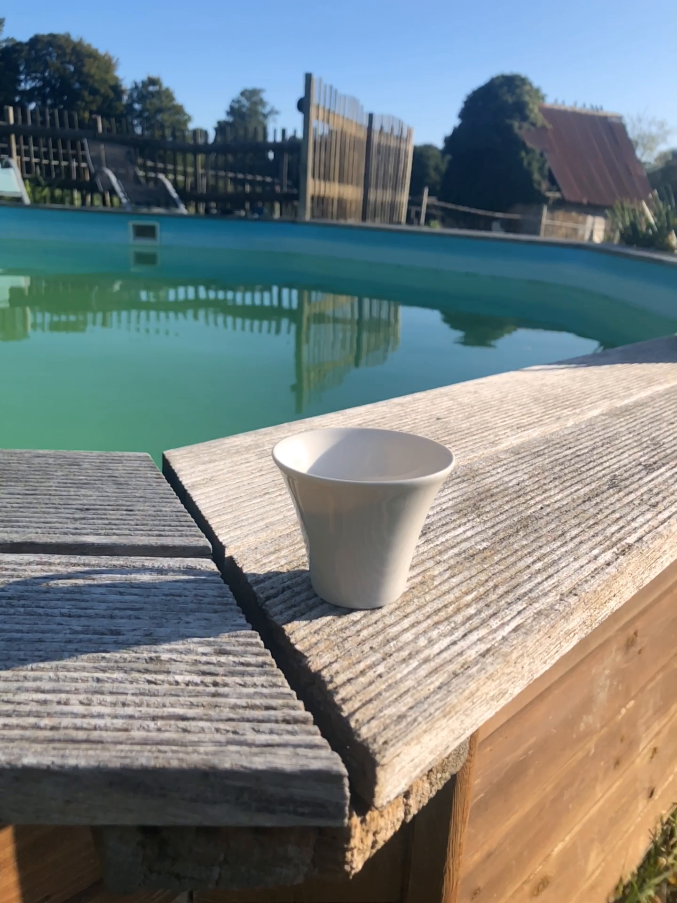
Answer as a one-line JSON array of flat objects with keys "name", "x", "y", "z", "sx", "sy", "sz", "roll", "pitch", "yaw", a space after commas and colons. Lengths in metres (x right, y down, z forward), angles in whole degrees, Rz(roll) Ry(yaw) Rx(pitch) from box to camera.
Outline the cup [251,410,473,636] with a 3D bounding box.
[{"name": "cup", "x": 0.015, "y": 0.024, "z": 0.318, "sx": 0.076, "sy": 0.053, "sz": 0.097, "roll": 6, "pitch": 18, "yaw": 10}]
